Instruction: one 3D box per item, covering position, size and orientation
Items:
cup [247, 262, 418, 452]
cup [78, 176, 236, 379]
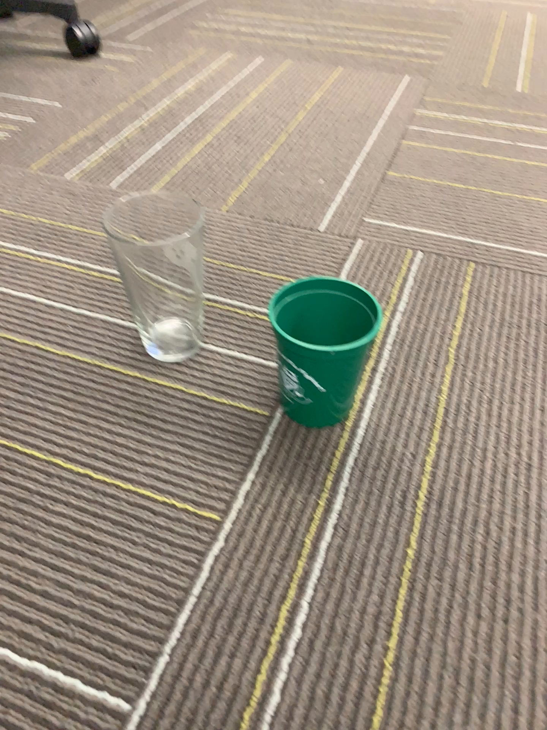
[{"bbox_3d":[0.047,-0.009,0.493,0.100,0.099,0.100,0,45,0],"label":"cup"},{"bbox_3d":[-0.102,-0.081,0.524,0.090,0.139,0.090,0,45,0],"label":"cup"}]
